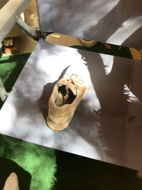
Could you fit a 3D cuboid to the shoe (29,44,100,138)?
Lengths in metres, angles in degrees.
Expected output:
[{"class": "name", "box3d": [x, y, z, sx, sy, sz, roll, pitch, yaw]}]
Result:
[{"class": "shoe", "box3d": [-0.010, -0.016, 0.539, 0.124, 0.104, 0.287, 20, 71, 11]}]
